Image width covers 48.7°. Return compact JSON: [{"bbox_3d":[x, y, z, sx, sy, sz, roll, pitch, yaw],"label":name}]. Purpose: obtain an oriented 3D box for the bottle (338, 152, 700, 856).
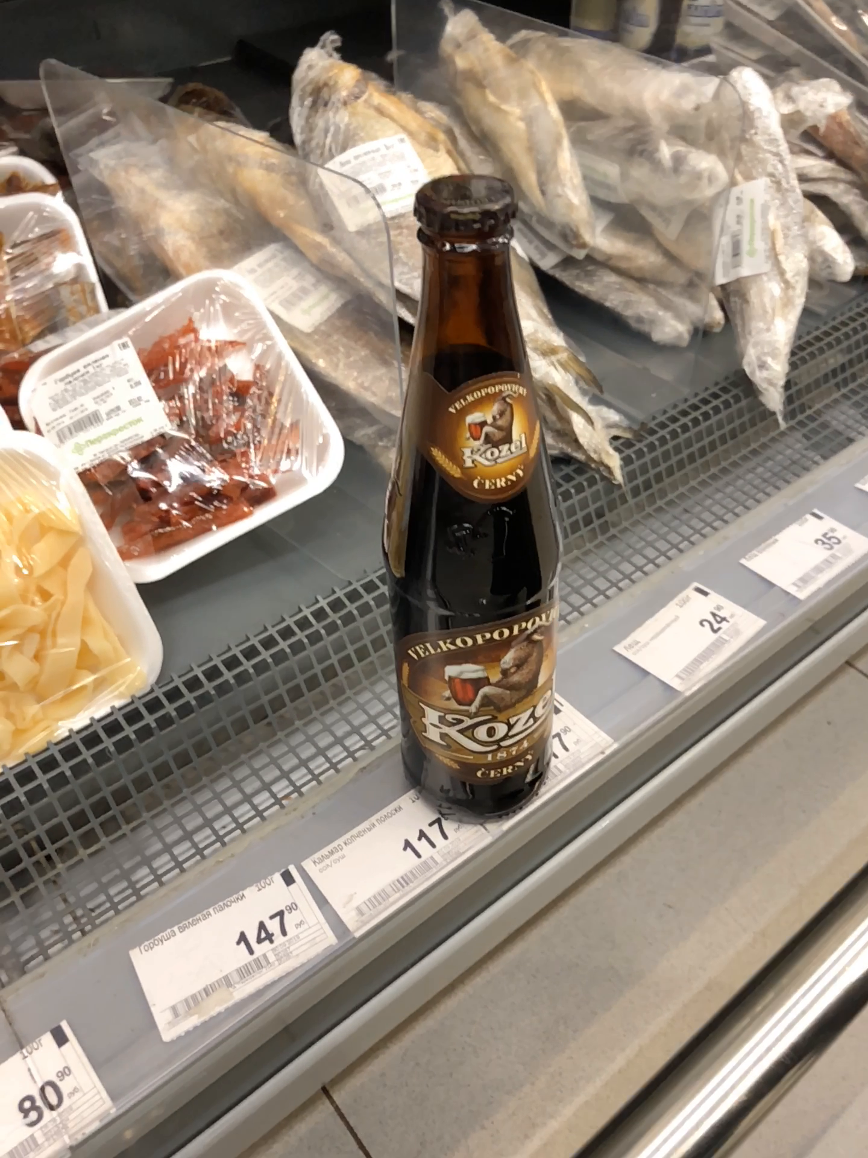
[{"bbox_3d":[0.020,-0.009,0.327,0.070,0.231,0.070,0,42,0],"label":"bottle"}]
